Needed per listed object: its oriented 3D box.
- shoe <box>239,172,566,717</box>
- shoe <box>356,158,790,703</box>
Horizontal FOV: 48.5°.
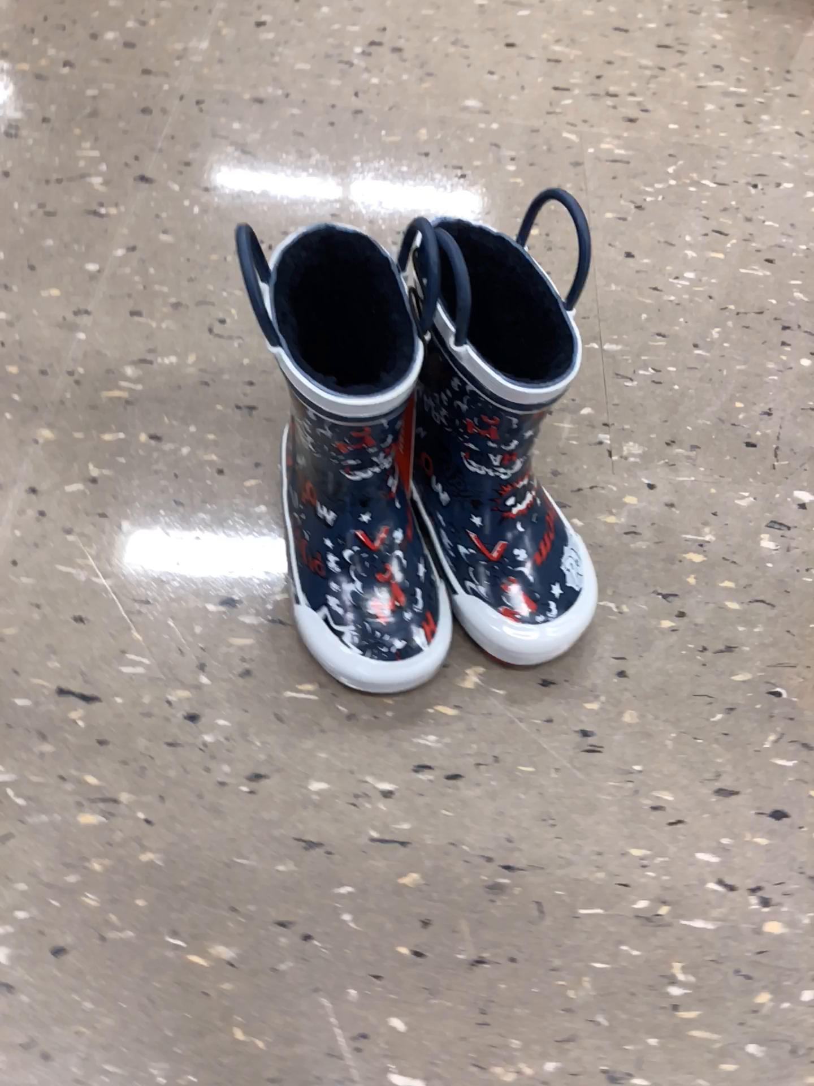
[{"bbox_3d":[-0.015,-0.036,0.389,0.080,0.160,0.160,-9,61,-12],"label":"shoe"},{"bbox_3d":[0.050,-0.041,0.387,0.080,0.160,0.150,-20,64,-18],"label":"shoe"}]
